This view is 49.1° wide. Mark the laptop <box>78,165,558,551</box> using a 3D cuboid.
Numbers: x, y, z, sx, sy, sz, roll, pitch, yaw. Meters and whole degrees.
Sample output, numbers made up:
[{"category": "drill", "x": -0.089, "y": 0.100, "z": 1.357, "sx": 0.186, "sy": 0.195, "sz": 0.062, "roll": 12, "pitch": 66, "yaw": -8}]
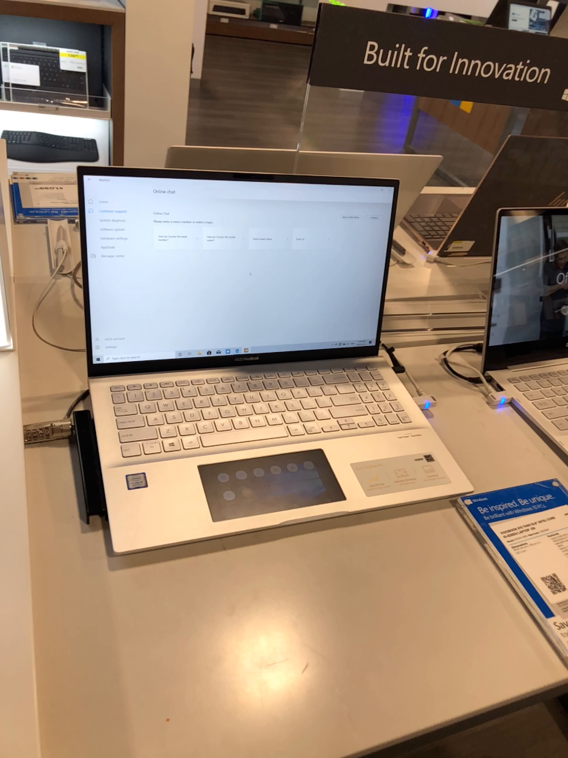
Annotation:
[{"category": "laptop", "x": -0.004, "y": -0.045, "z": 0.577, "sx": 0.330, "sy": 0.189, "sz": 0.285, "roll": -5, "pitch": 40, "yaw": -20}]
